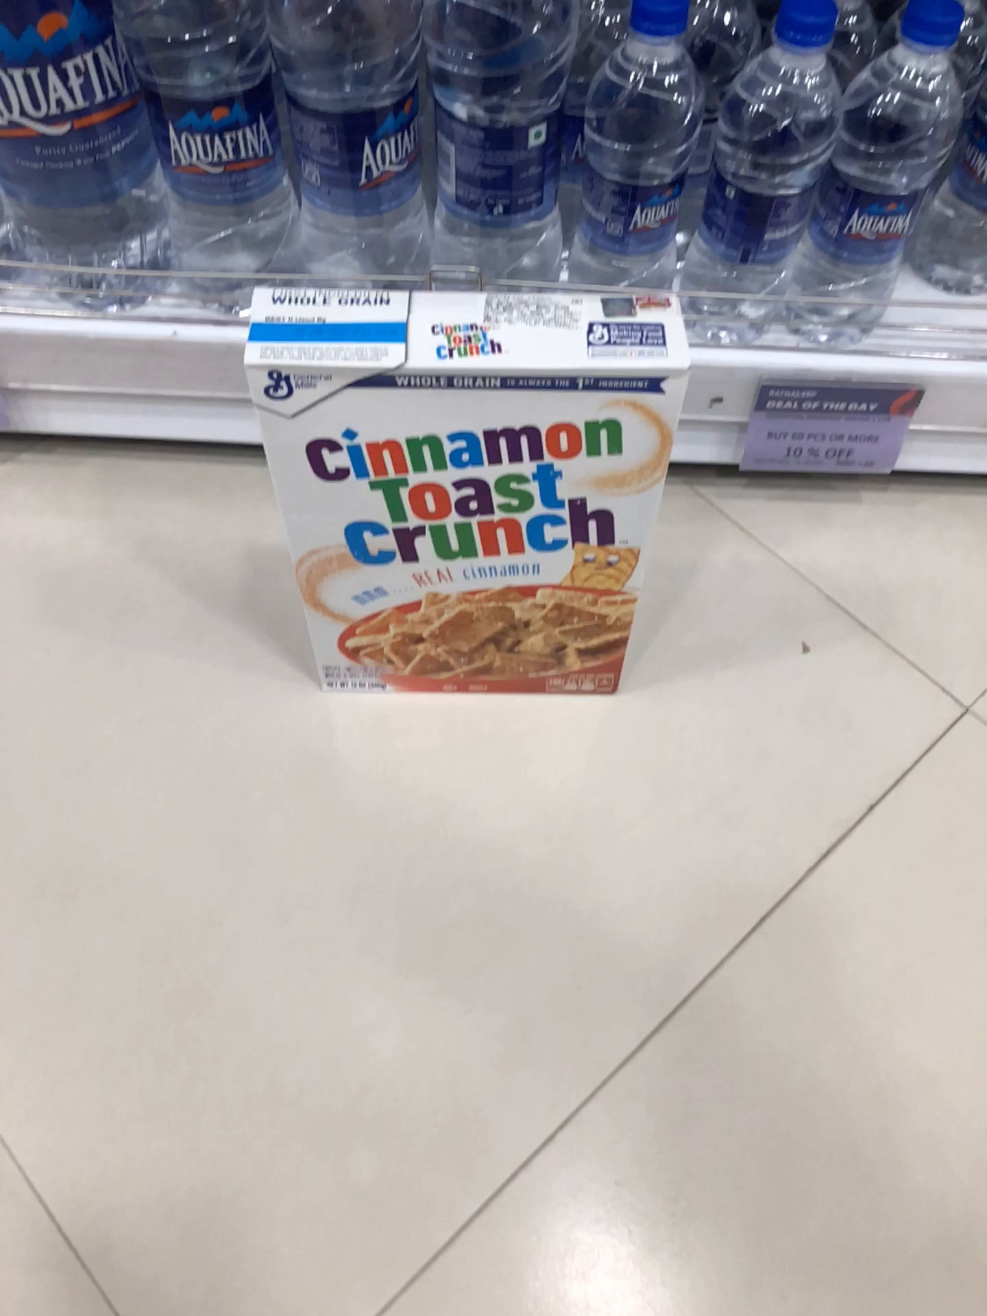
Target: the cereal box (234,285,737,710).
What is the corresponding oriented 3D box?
[{"bbox_3d":[-0.006,-0.063,0.569,0.200,0.279,0.060,0,61,-1],"label":"cereal box"}]
